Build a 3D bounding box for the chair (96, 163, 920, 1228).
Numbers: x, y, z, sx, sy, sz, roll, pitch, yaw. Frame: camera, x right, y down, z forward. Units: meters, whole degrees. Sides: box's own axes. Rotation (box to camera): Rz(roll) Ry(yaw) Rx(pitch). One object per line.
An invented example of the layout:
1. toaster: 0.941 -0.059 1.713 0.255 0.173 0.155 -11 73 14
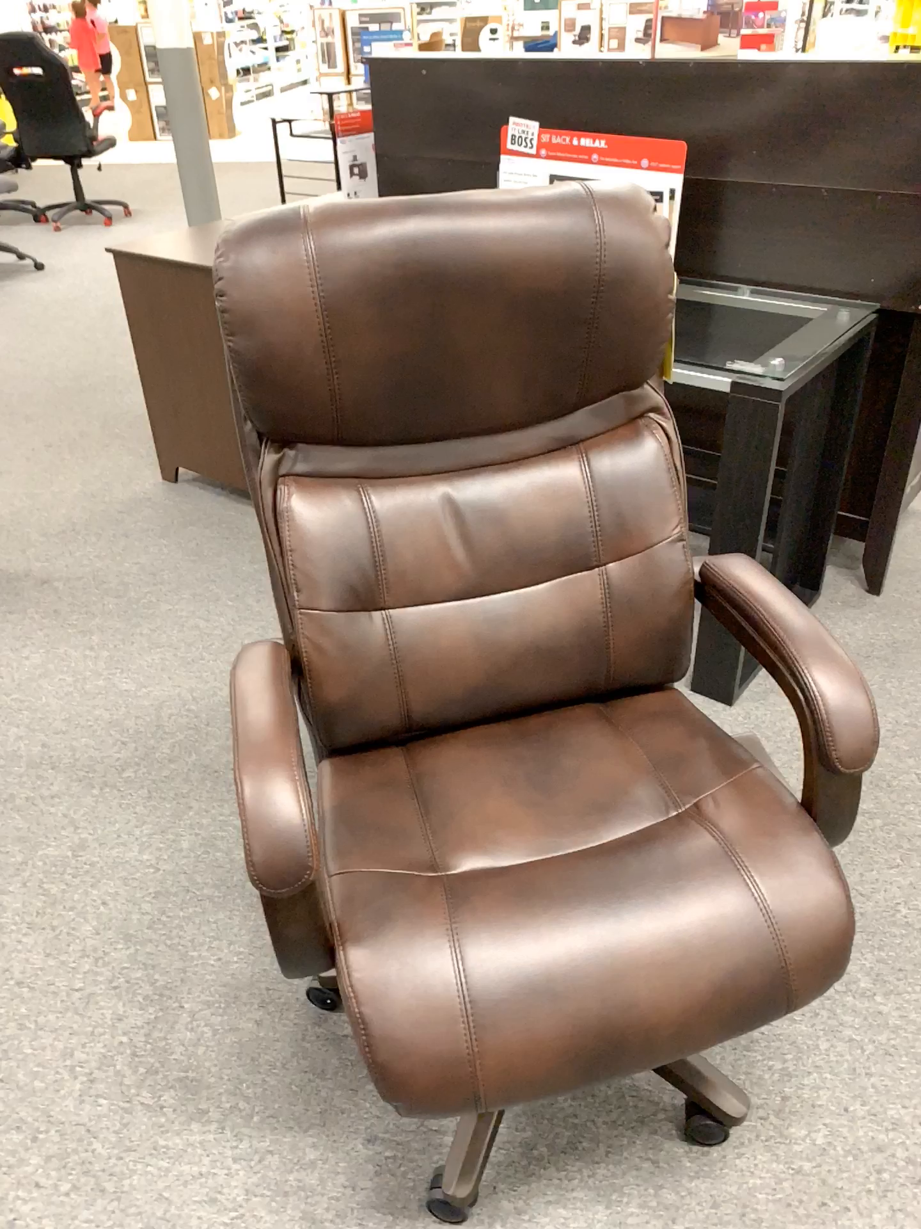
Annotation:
1. chair: 0.068 0.118 1.158 0.710 1.094 0.704 -10 34 -12
